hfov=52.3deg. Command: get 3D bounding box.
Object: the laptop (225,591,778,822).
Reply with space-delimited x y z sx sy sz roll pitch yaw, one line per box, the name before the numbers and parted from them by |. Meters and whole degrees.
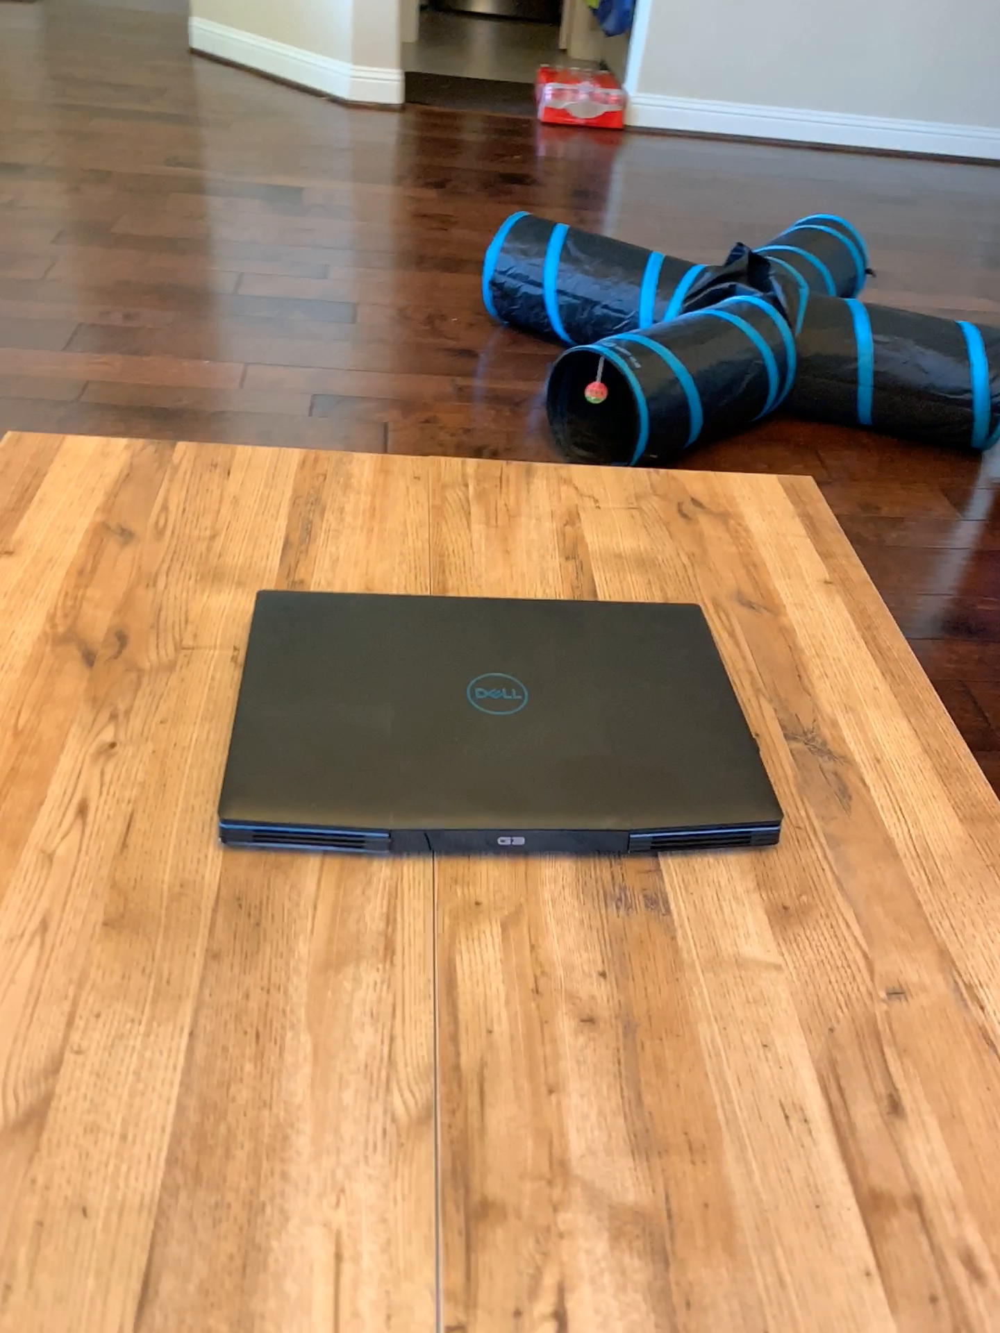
laptop | -0.004 0.020 0.721 0.346 0.001 0.228 2 40 -6
